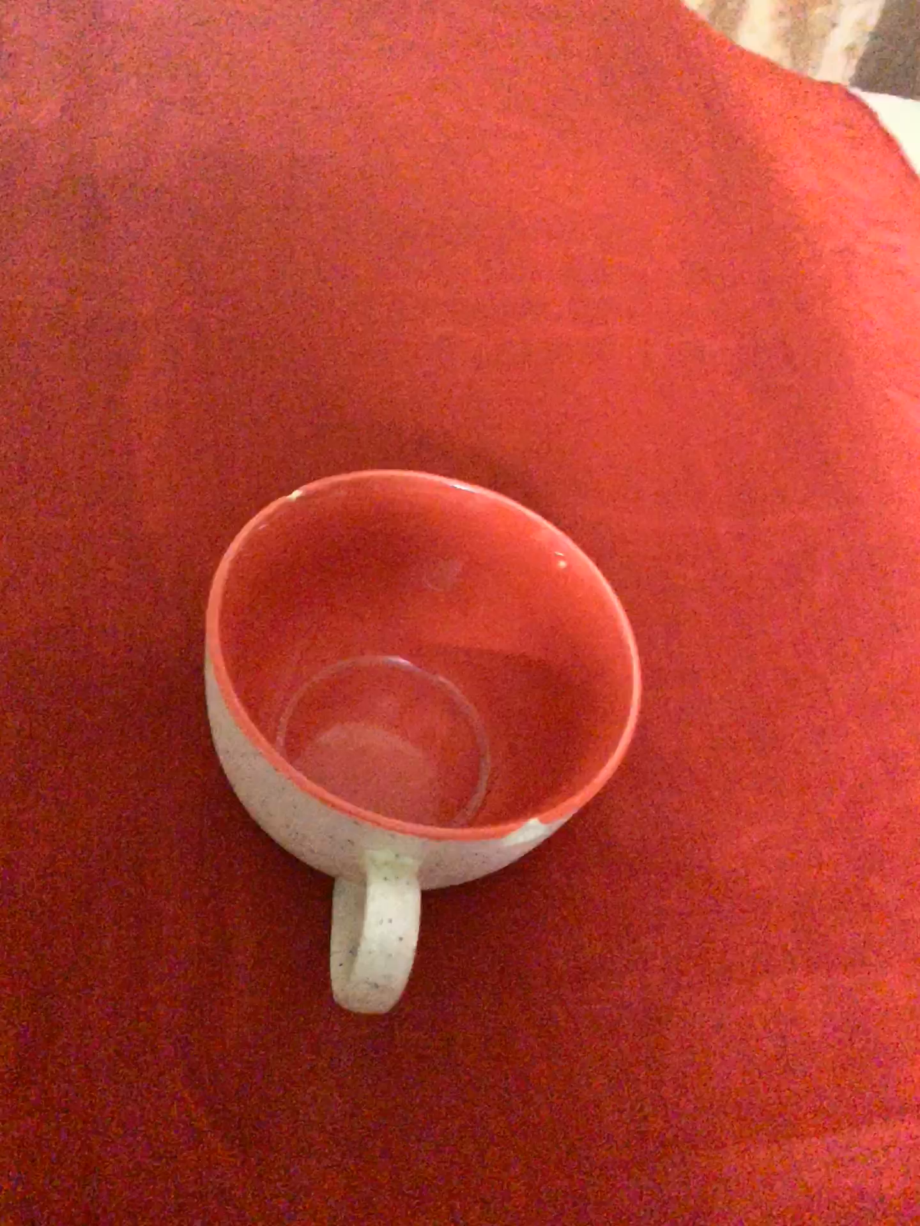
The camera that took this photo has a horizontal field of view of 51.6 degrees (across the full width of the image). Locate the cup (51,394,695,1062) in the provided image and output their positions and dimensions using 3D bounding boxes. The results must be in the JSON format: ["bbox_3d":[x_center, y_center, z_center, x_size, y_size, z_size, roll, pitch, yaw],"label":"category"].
[{"bbox_3d":[-0.015,0.029,0.258,0.130,0.070,0.141,7,54,-11],"label":"cup"}]
